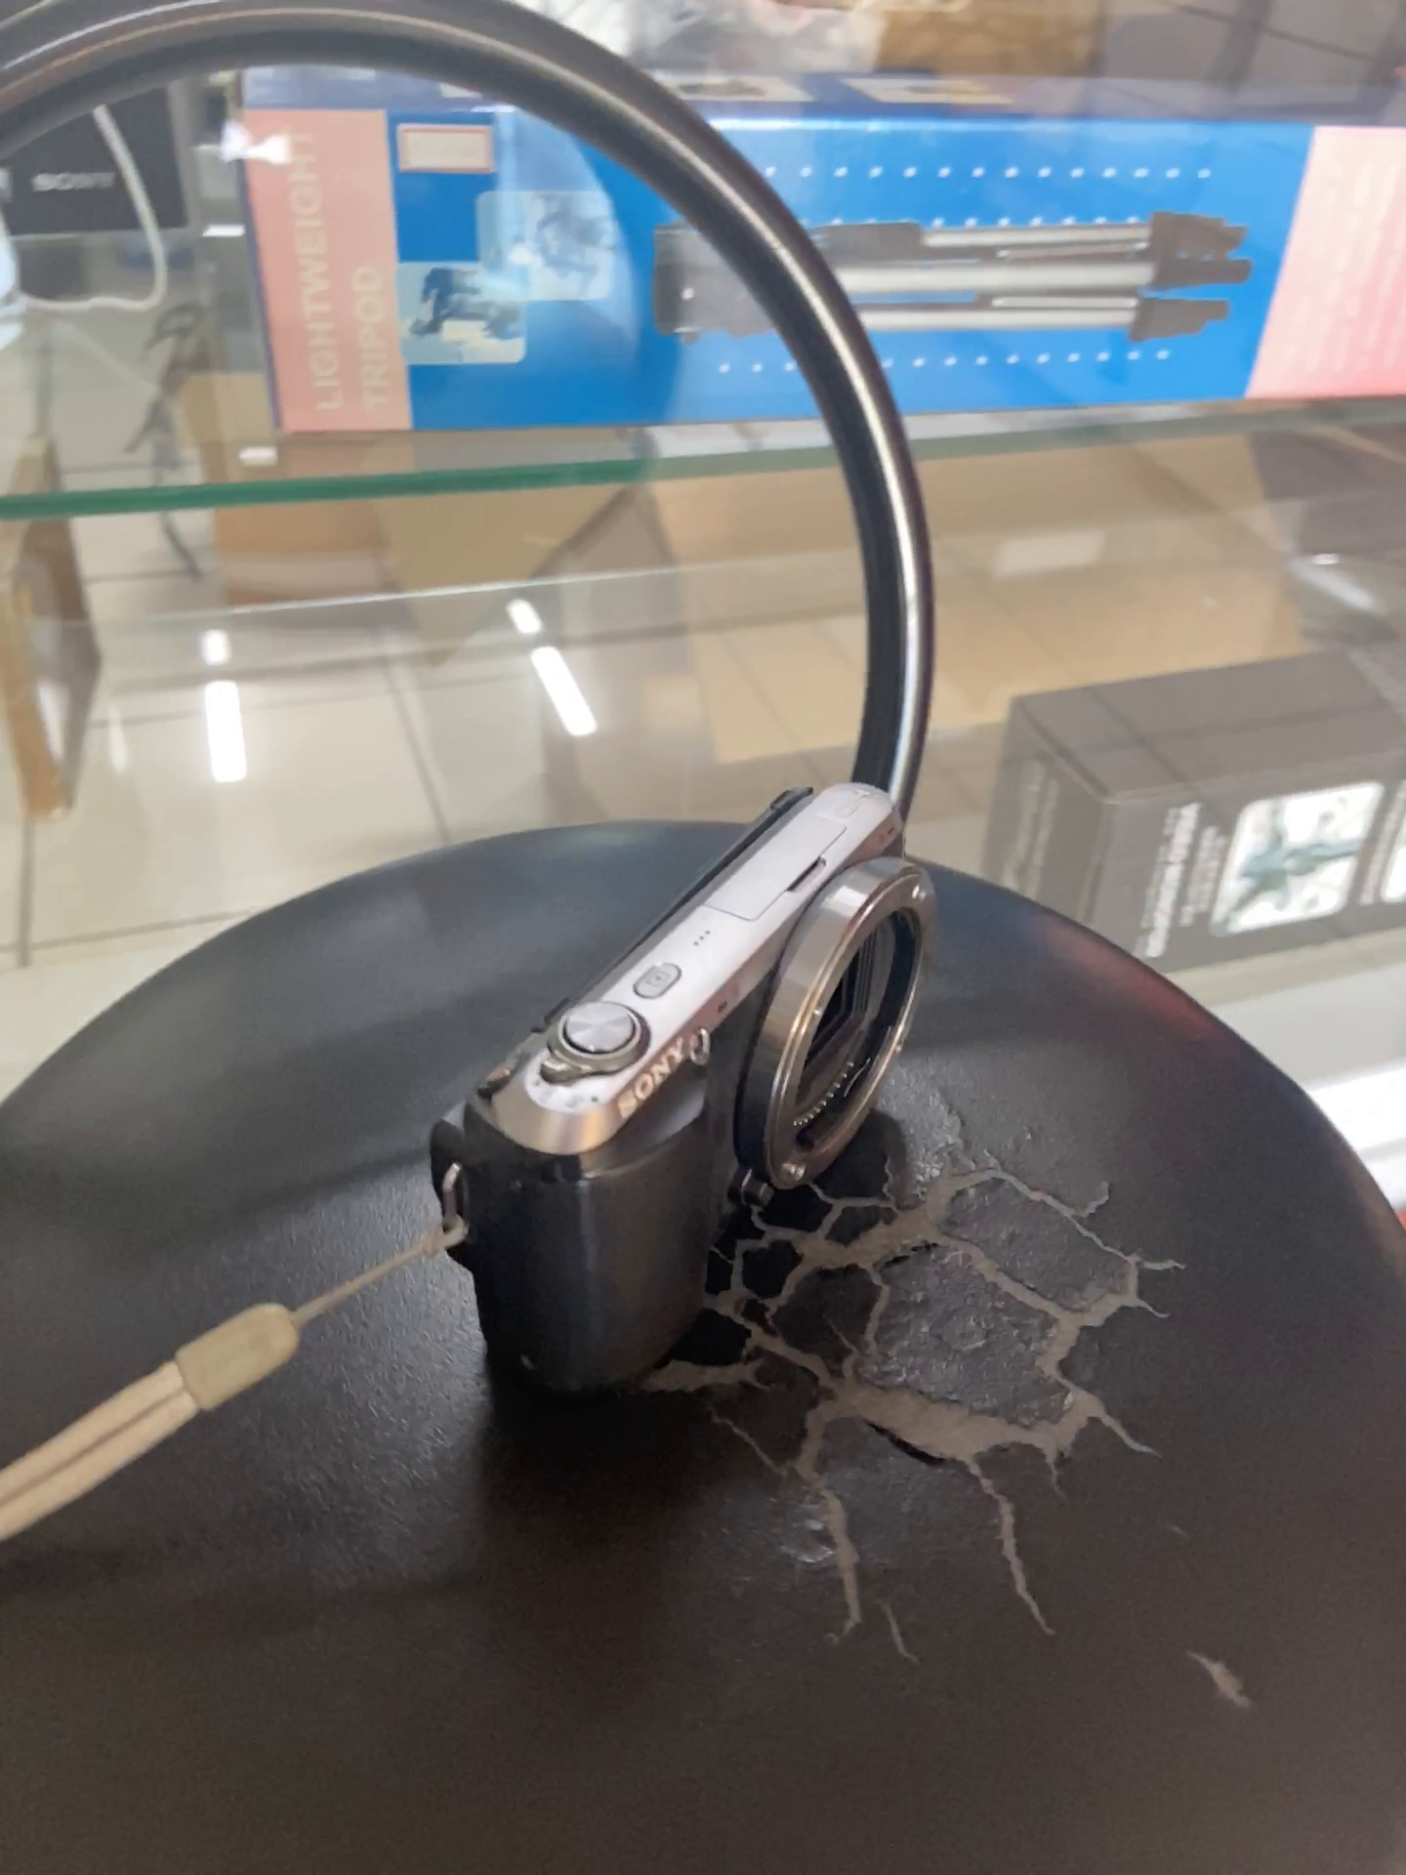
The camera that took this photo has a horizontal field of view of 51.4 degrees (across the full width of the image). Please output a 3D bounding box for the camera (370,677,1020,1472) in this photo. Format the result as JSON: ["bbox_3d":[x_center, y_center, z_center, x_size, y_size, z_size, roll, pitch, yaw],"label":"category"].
[{"bbox_3d":[0.005,0.014,0.235,0.040,0.060,0.121,21,41,23],"label":"camera"}]
